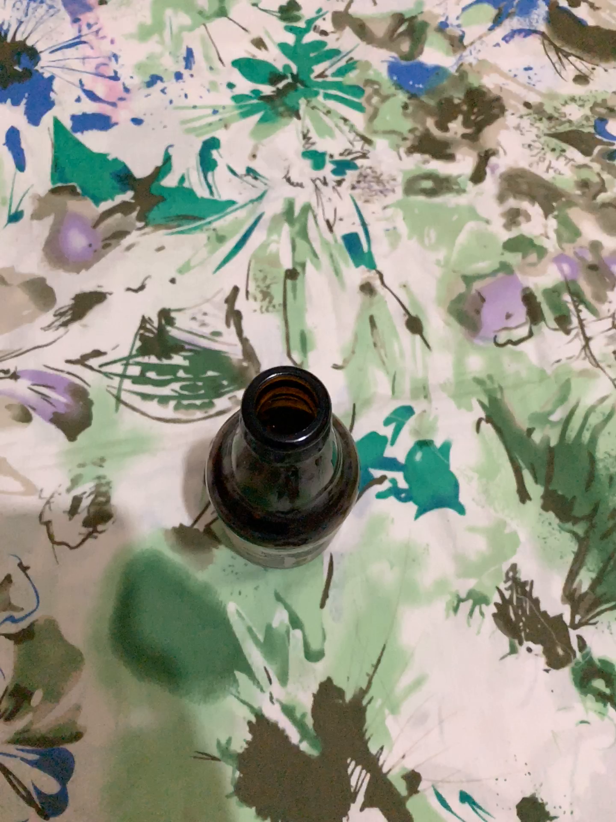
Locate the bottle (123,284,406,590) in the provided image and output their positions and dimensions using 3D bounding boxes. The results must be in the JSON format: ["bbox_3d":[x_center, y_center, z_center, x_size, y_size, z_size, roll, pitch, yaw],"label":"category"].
[{"bbox_3d":[-0.013,0.028,0.255,0.070,0.180,0.070,1,71,-3],"label":"bottle"}]
